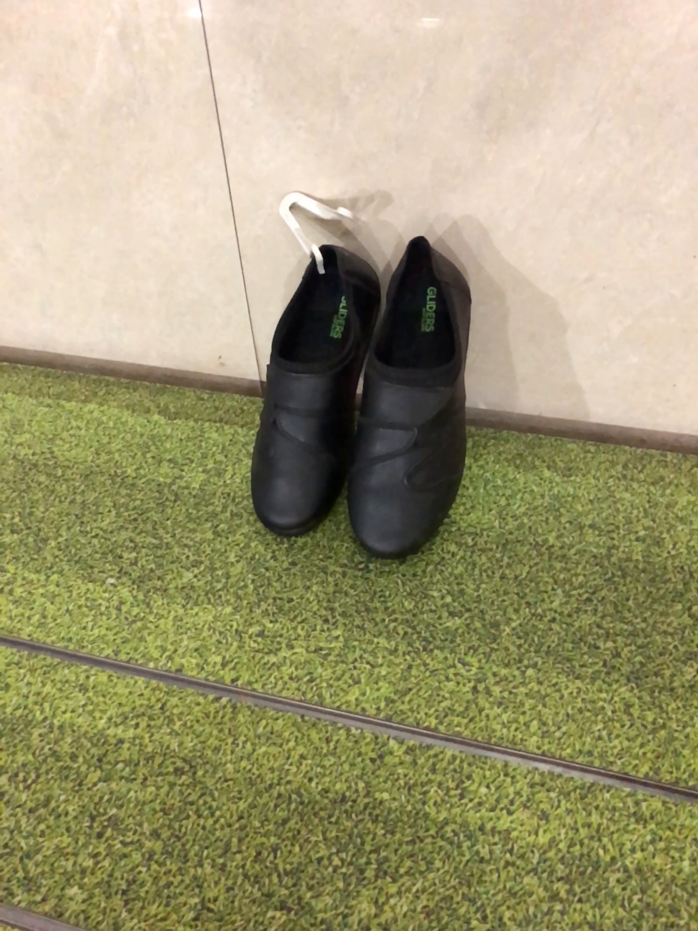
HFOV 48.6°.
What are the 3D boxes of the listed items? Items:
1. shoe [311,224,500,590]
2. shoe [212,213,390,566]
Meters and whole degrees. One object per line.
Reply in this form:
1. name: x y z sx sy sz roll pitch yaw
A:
1. shoe: 0.044 -0.041 0.563 0.090 0.081 0.236 10 95 12
2. shoe: -0.034 -0.054 0.580 0.080 0.081 0.236 10 95 11
